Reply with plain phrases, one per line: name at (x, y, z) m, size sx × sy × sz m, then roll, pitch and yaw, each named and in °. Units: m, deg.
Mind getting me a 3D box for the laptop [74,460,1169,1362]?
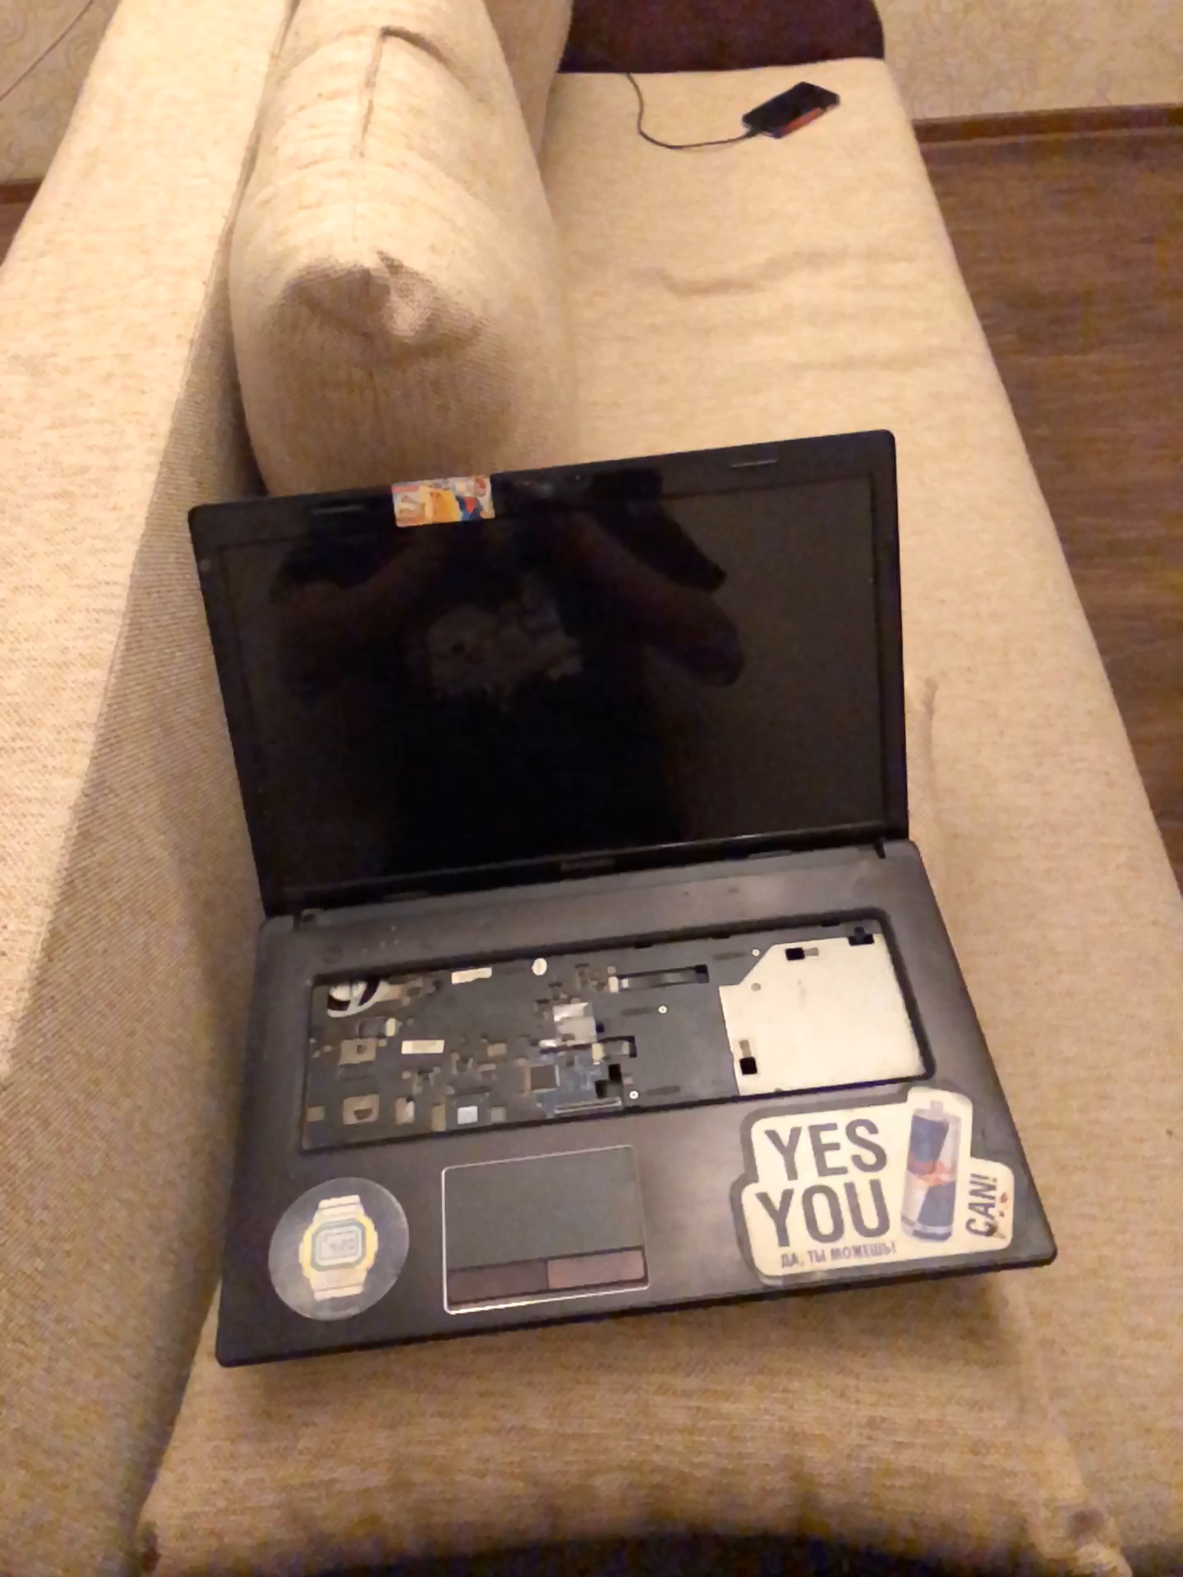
laptop at (-0.002, 0.045, 0.703) m, size 0.412 × 0.198 × 0.410 m, roll -6°, pitch 49°, yaw -1°
